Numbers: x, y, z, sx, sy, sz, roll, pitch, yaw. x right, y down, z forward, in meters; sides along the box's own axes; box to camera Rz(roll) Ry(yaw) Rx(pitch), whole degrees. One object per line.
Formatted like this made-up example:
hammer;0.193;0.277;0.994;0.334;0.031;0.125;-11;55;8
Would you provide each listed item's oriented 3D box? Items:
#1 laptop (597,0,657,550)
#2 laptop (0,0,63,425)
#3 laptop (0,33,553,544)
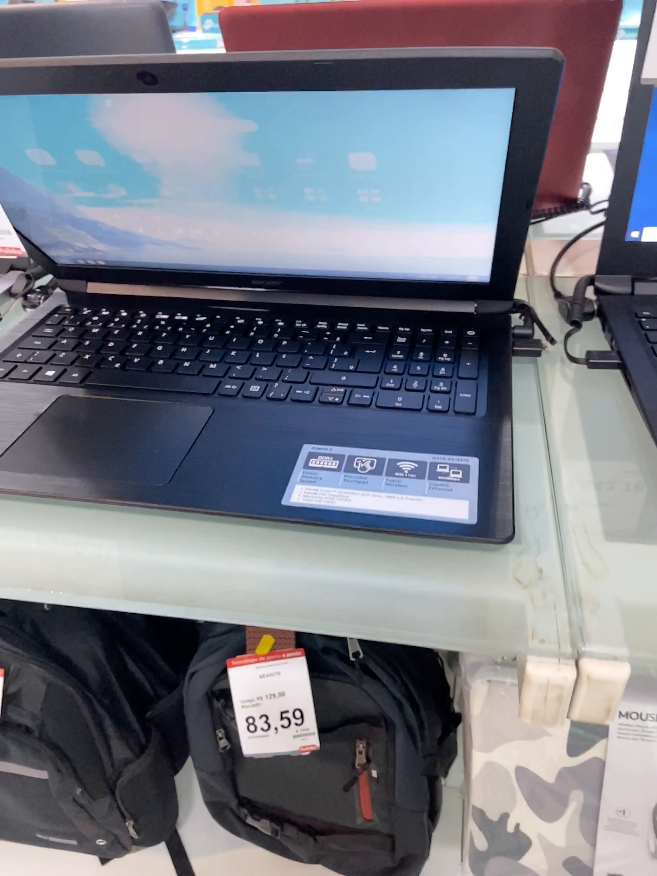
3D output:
laptop;0.400;-0.145;0.349;0.431;0.245;0.286;2;36;7
laptop;-0.495;-0.207;0.529;0.395;0.233;0.303;4;36;13
laptop;-0.081;-0.110;0.399;0.373;0.186;0.235;5;36;12
